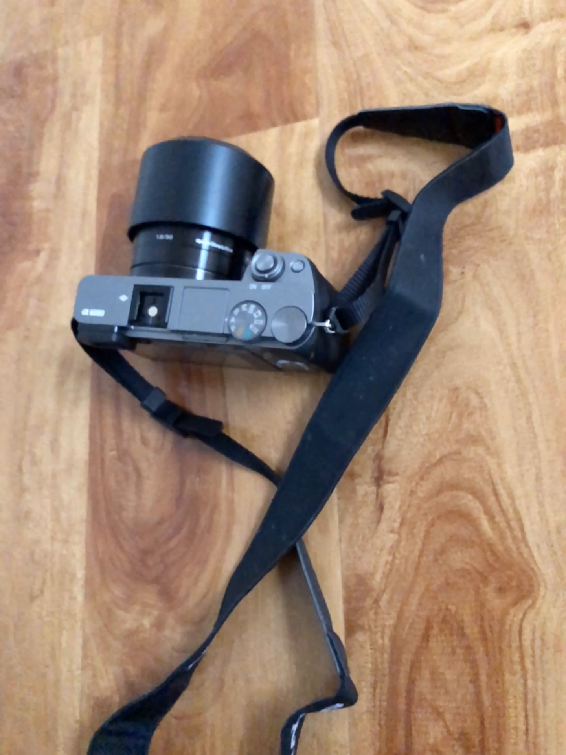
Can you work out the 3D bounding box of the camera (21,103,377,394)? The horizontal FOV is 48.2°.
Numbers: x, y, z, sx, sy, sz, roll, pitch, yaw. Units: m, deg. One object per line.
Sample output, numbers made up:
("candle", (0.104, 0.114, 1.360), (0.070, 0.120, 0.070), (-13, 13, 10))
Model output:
("camera", (-0.036, -0.059, 0.317), (0.140, 0.080, 0.110), (5, 80, 21))
